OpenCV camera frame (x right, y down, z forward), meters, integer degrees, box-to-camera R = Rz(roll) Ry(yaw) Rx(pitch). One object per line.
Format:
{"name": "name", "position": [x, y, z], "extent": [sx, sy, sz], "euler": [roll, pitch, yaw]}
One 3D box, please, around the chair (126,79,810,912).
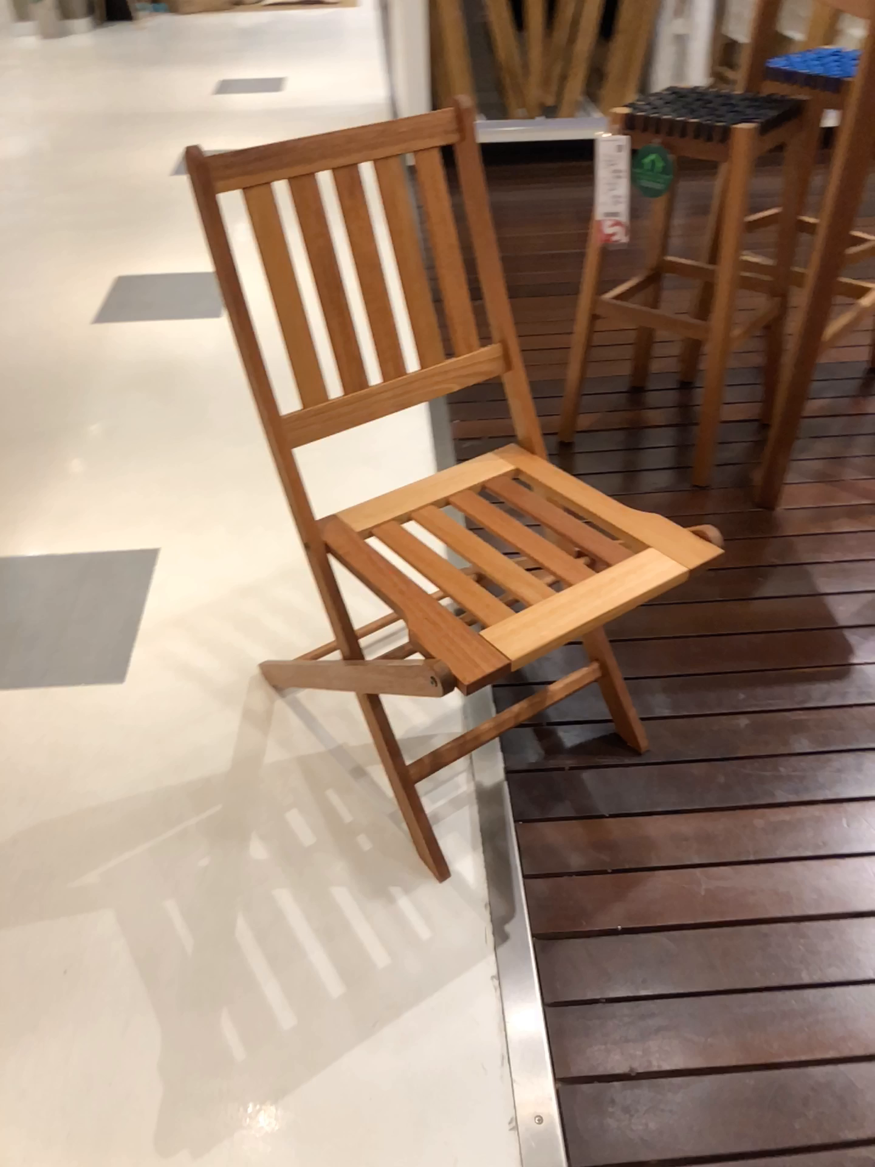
{"name": "chair", "position": [0.019, -0.141, 1.338], "extent": [0.501, 0.863, 0.603], "euler": [-25, 44, -27]}
